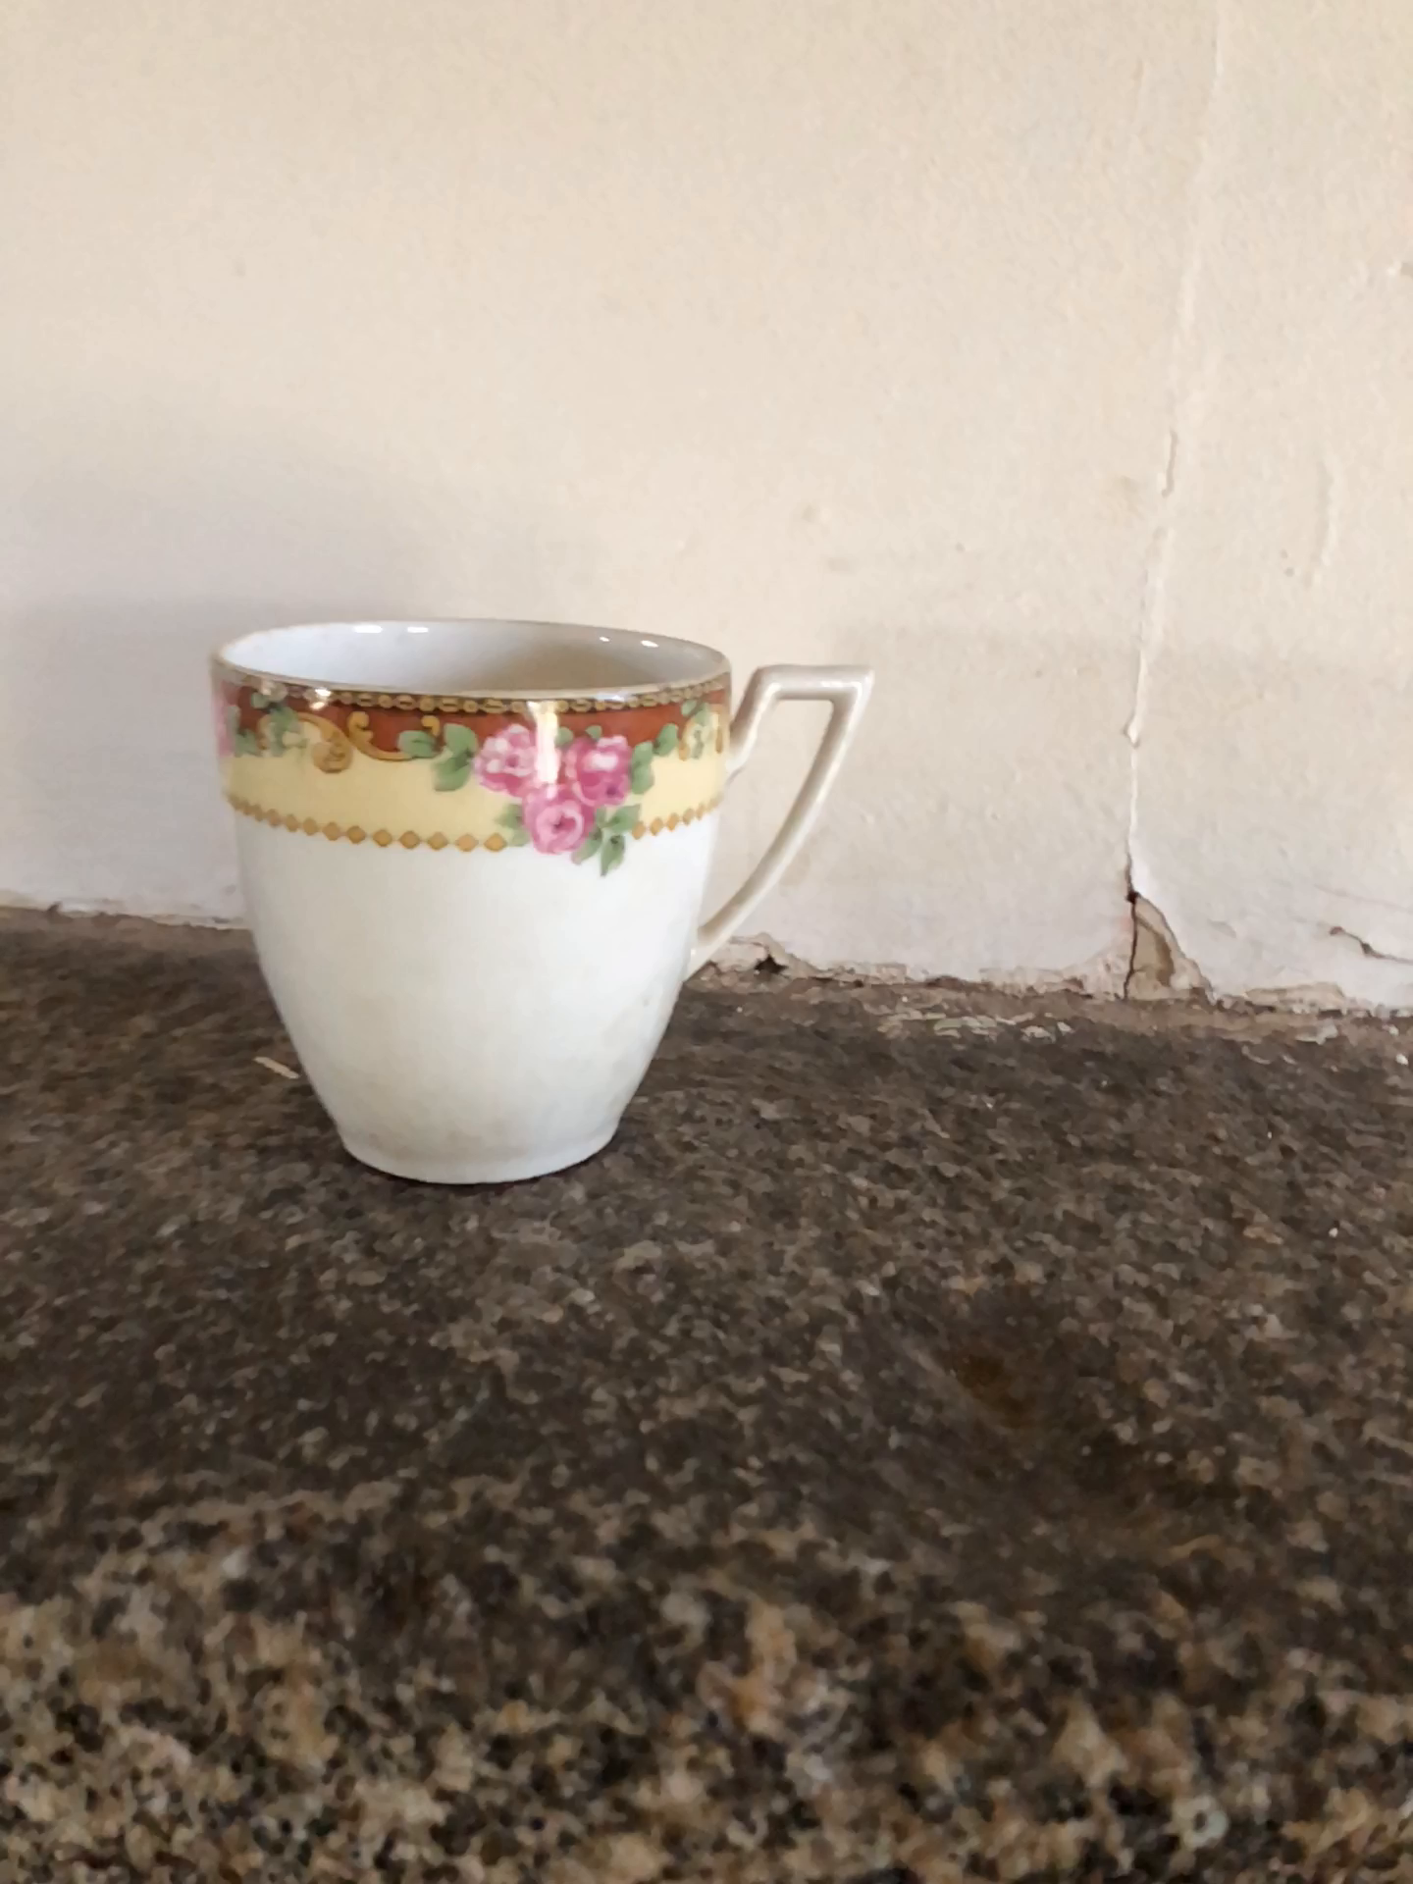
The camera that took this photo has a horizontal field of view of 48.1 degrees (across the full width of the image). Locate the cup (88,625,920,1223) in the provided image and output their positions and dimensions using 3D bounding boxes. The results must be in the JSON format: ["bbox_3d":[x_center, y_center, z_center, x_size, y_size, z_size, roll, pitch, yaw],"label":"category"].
[{"bbox_3d":[-0.025,-0.008,0.215,0.090,0.060,0.070,-1,19,-6],"label":"cup"}]
